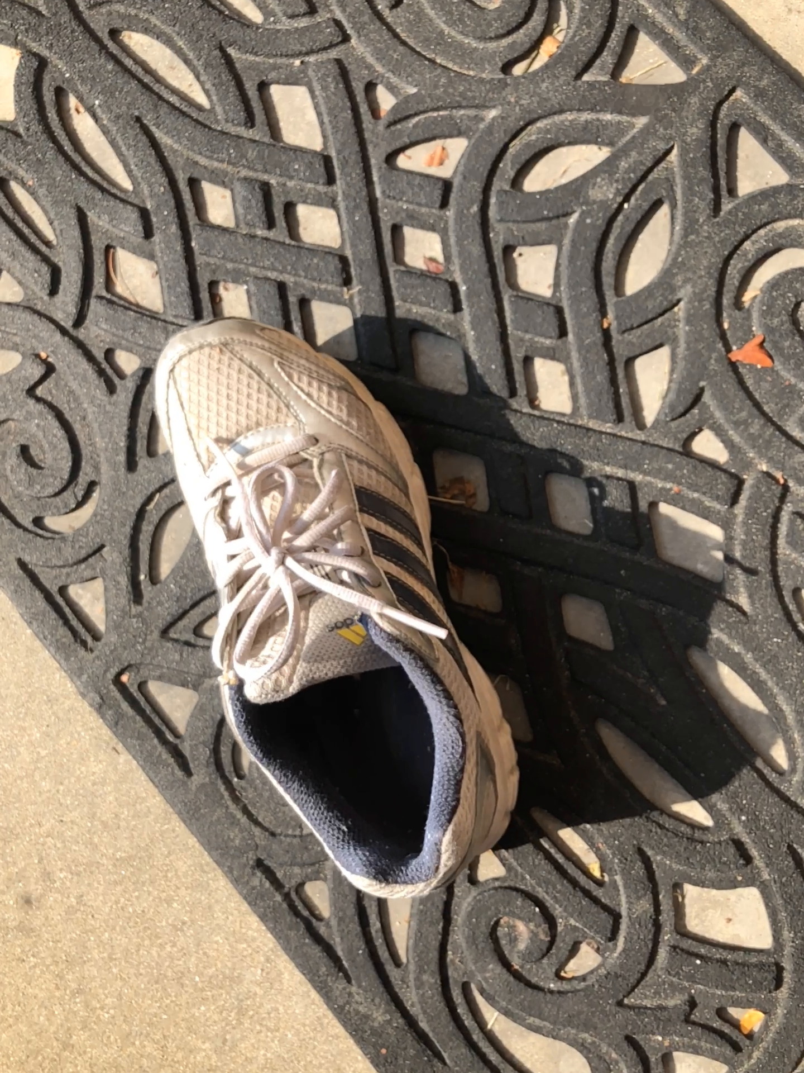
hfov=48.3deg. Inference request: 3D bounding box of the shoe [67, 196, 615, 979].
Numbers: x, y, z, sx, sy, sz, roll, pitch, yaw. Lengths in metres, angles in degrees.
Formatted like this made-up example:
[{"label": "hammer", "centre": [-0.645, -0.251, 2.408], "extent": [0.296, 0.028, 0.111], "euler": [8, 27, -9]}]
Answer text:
[{"label": "shoe", "centre": [-0.015, 0.019, 0.387], "extent": [0.110, 0.130, 0.260], "euler": [-25, 85, 12]}]
